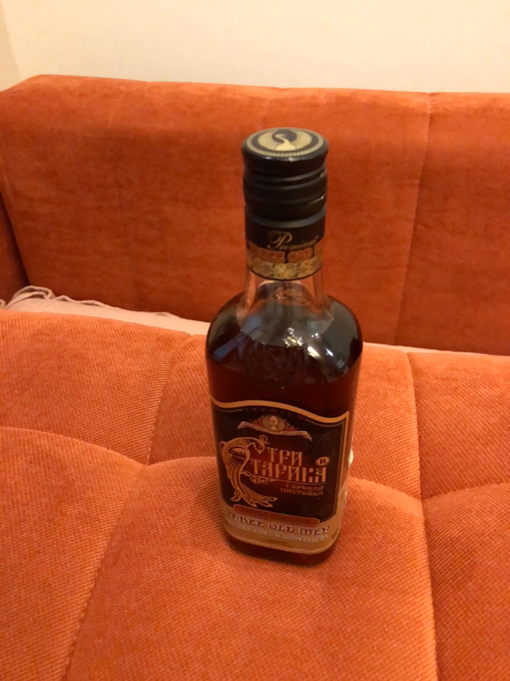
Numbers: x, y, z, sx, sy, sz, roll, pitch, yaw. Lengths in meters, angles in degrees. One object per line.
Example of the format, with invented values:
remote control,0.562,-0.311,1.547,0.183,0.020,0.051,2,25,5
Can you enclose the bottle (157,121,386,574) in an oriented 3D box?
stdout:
bottle,0.012,0.023,0.280,0.074,0.237,0.057,7,40,11
